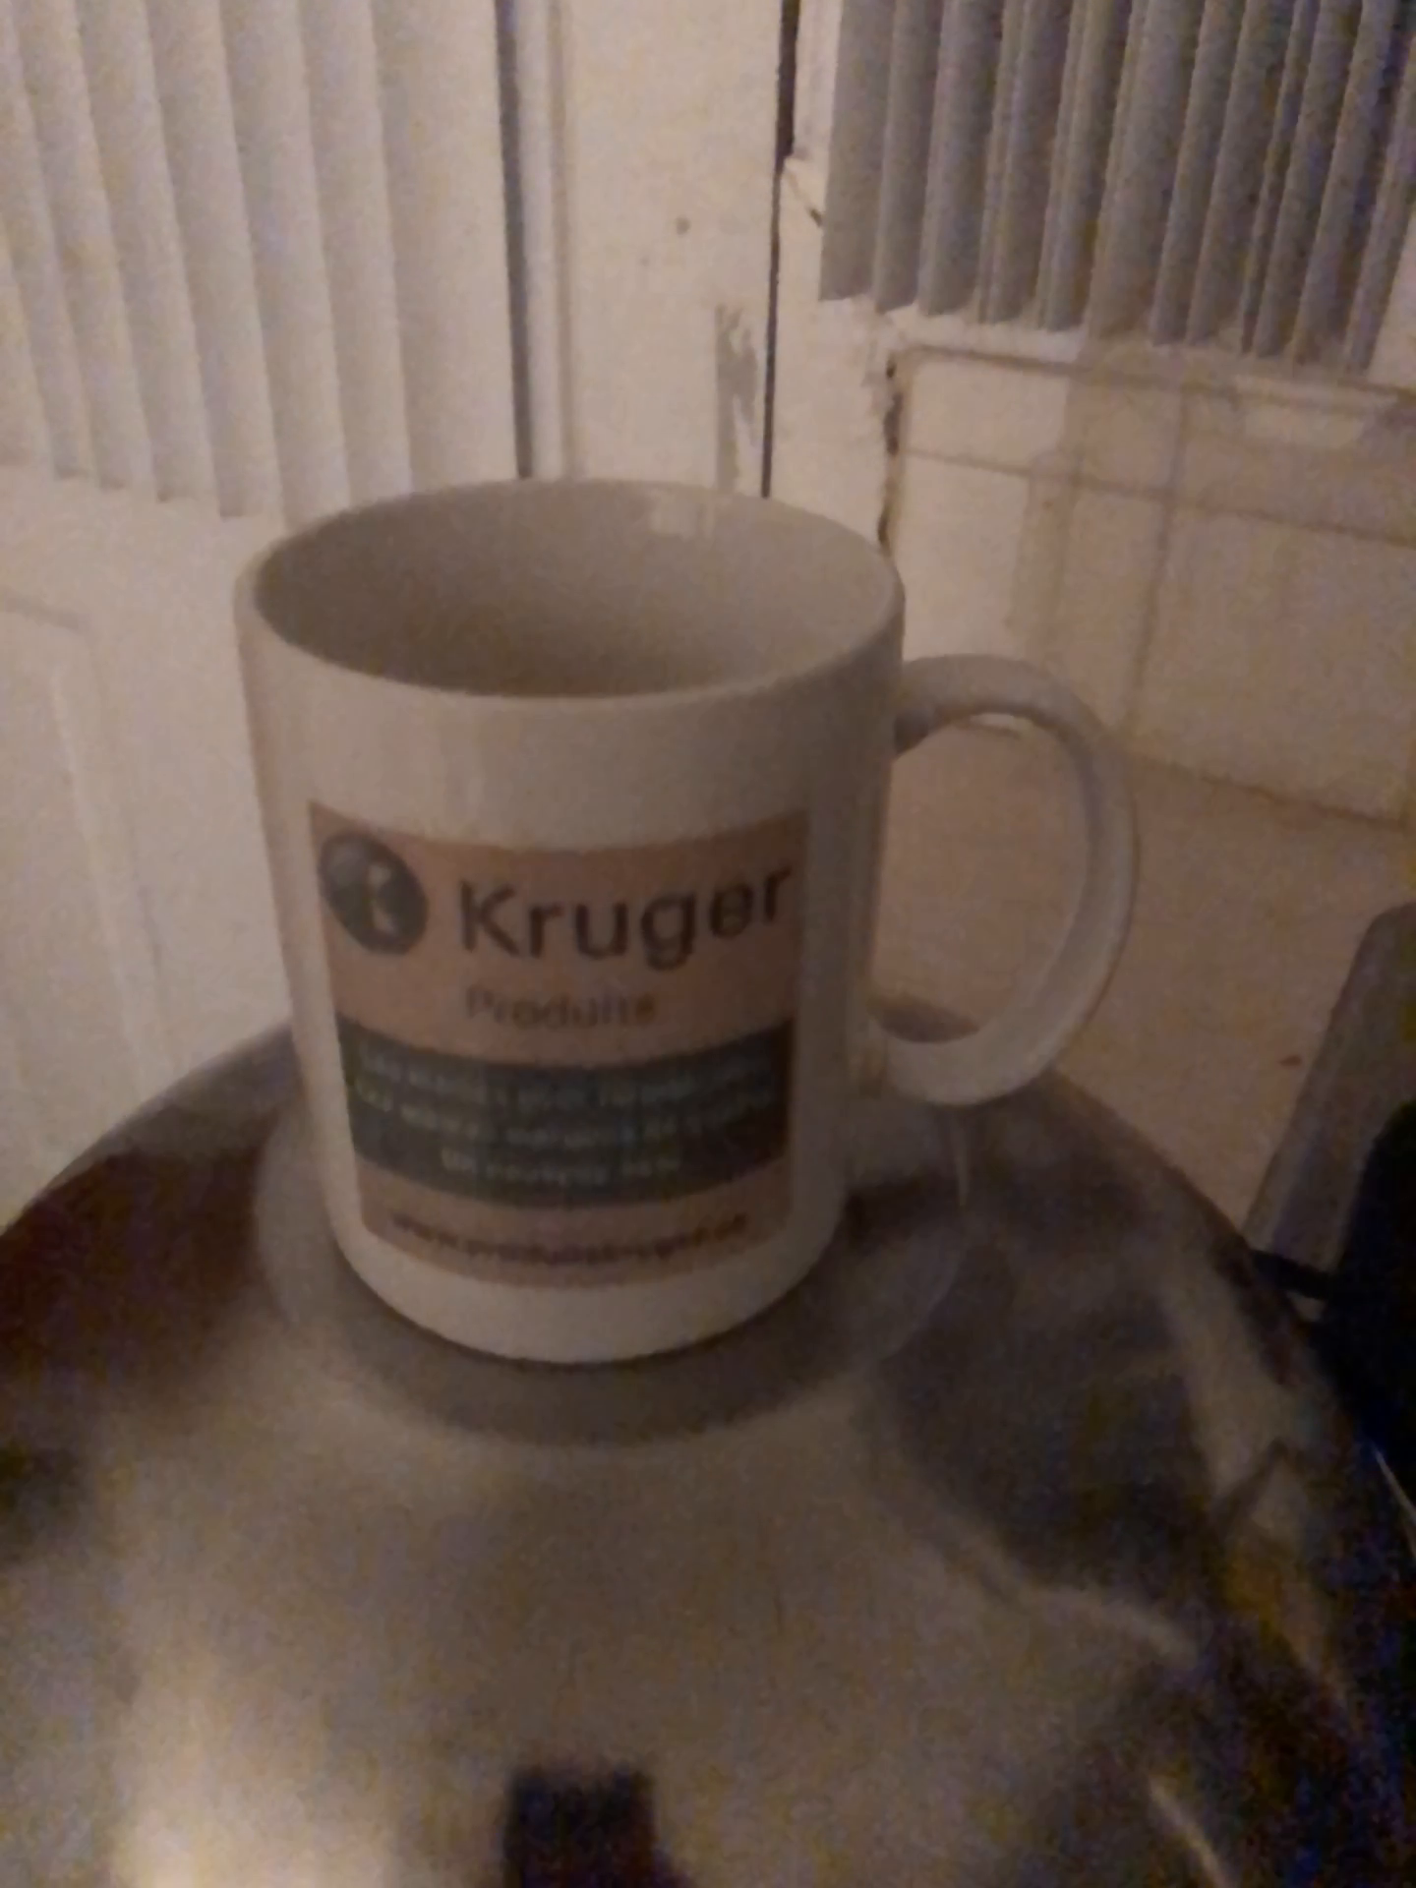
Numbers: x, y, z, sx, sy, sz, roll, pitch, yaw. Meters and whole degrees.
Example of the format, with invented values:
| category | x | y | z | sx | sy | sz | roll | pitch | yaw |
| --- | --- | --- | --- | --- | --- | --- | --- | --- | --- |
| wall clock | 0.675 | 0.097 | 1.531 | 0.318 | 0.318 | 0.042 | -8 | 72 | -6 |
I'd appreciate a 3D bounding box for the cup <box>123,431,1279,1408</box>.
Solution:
| category | x | y | z | sx | sy | sz | roll | pitch | yaw |
| --- | --- | --- | --- | --- | --- | --- | --- | --- | --- |
| cup | -0.002 | -0.006 | 0.230 | 0.120 | 0.109 | 0.091 | 1 | 32 | -1 |
